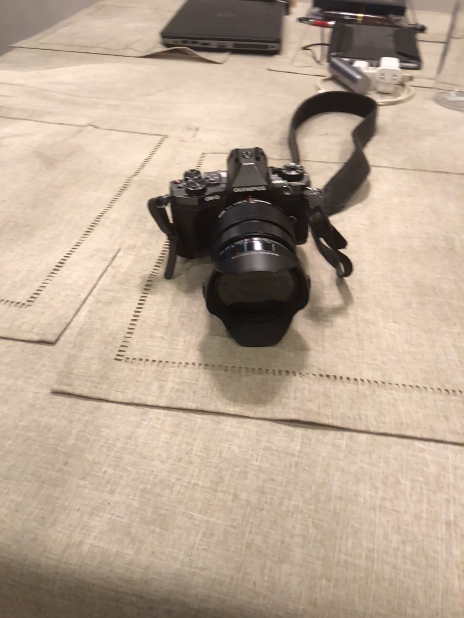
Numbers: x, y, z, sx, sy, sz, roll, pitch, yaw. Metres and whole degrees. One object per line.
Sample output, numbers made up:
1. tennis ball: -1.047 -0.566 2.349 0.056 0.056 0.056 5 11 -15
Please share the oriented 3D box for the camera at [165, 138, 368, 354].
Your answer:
1. camera: 0.013 -0.059 0.407 0.124 0.092 0.165 -3 39 -6
